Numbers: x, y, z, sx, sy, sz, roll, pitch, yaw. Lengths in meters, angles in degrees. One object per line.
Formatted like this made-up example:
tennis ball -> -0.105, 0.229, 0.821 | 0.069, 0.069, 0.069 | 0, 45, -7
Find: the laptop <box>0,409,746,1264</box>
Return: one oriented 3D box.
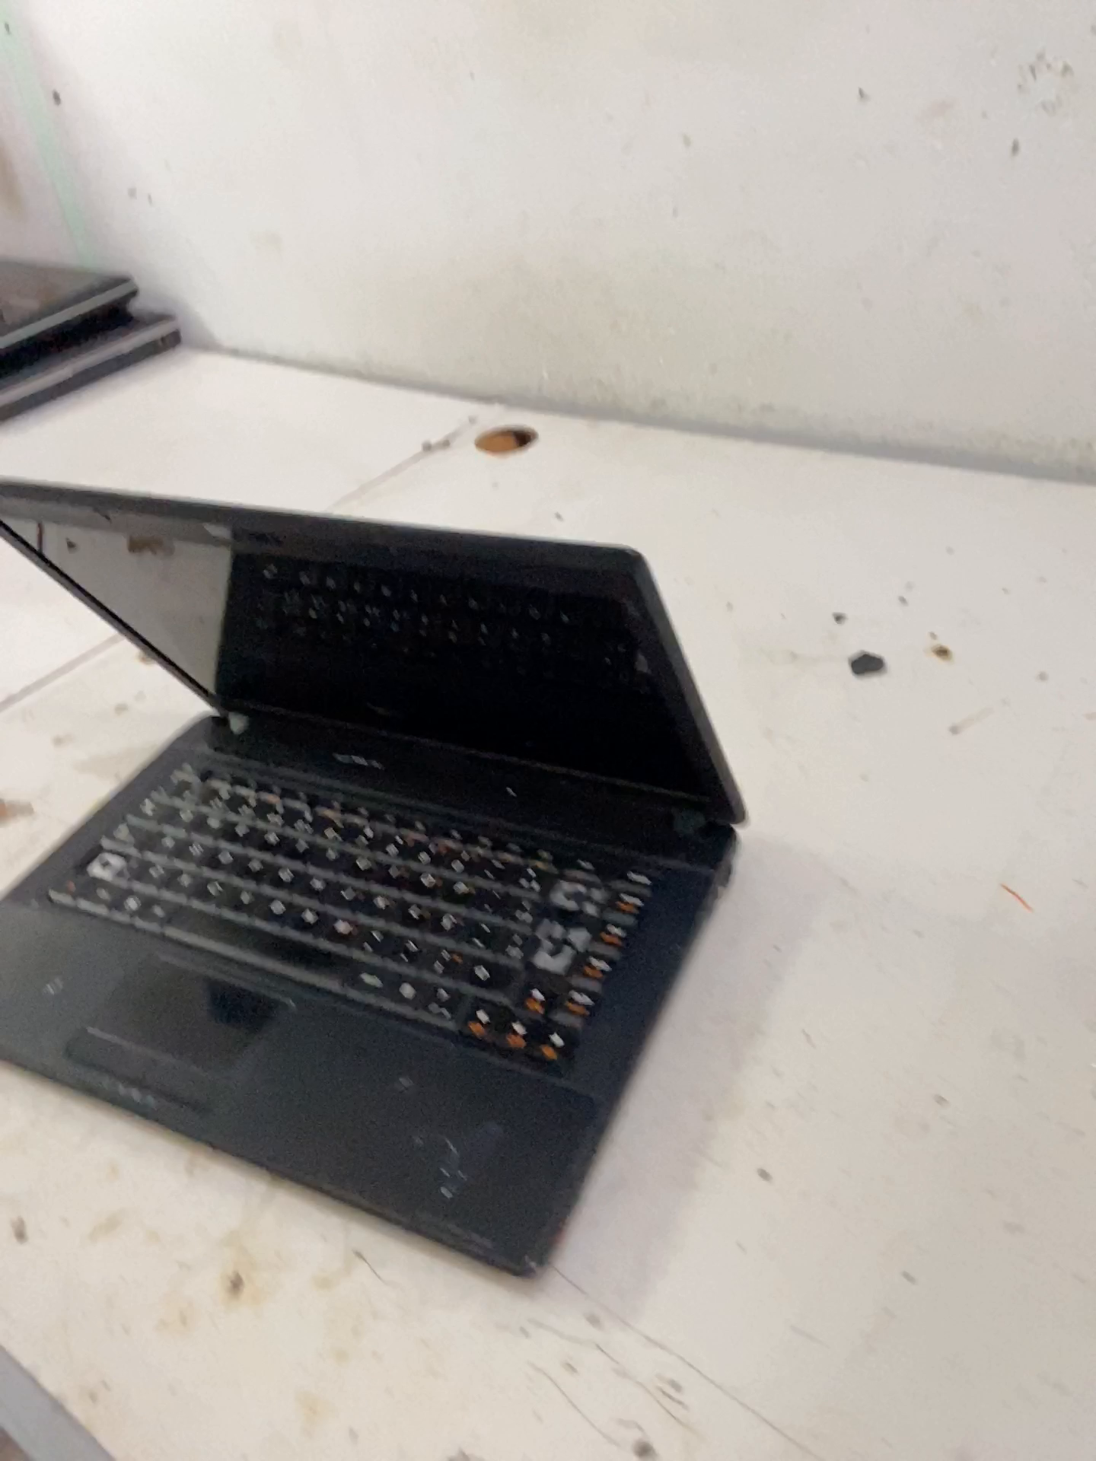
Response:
laptop -> -0.115, 0.011, 0.472 | 0.333, 0.194, 0.224 | 11, 41, 25
